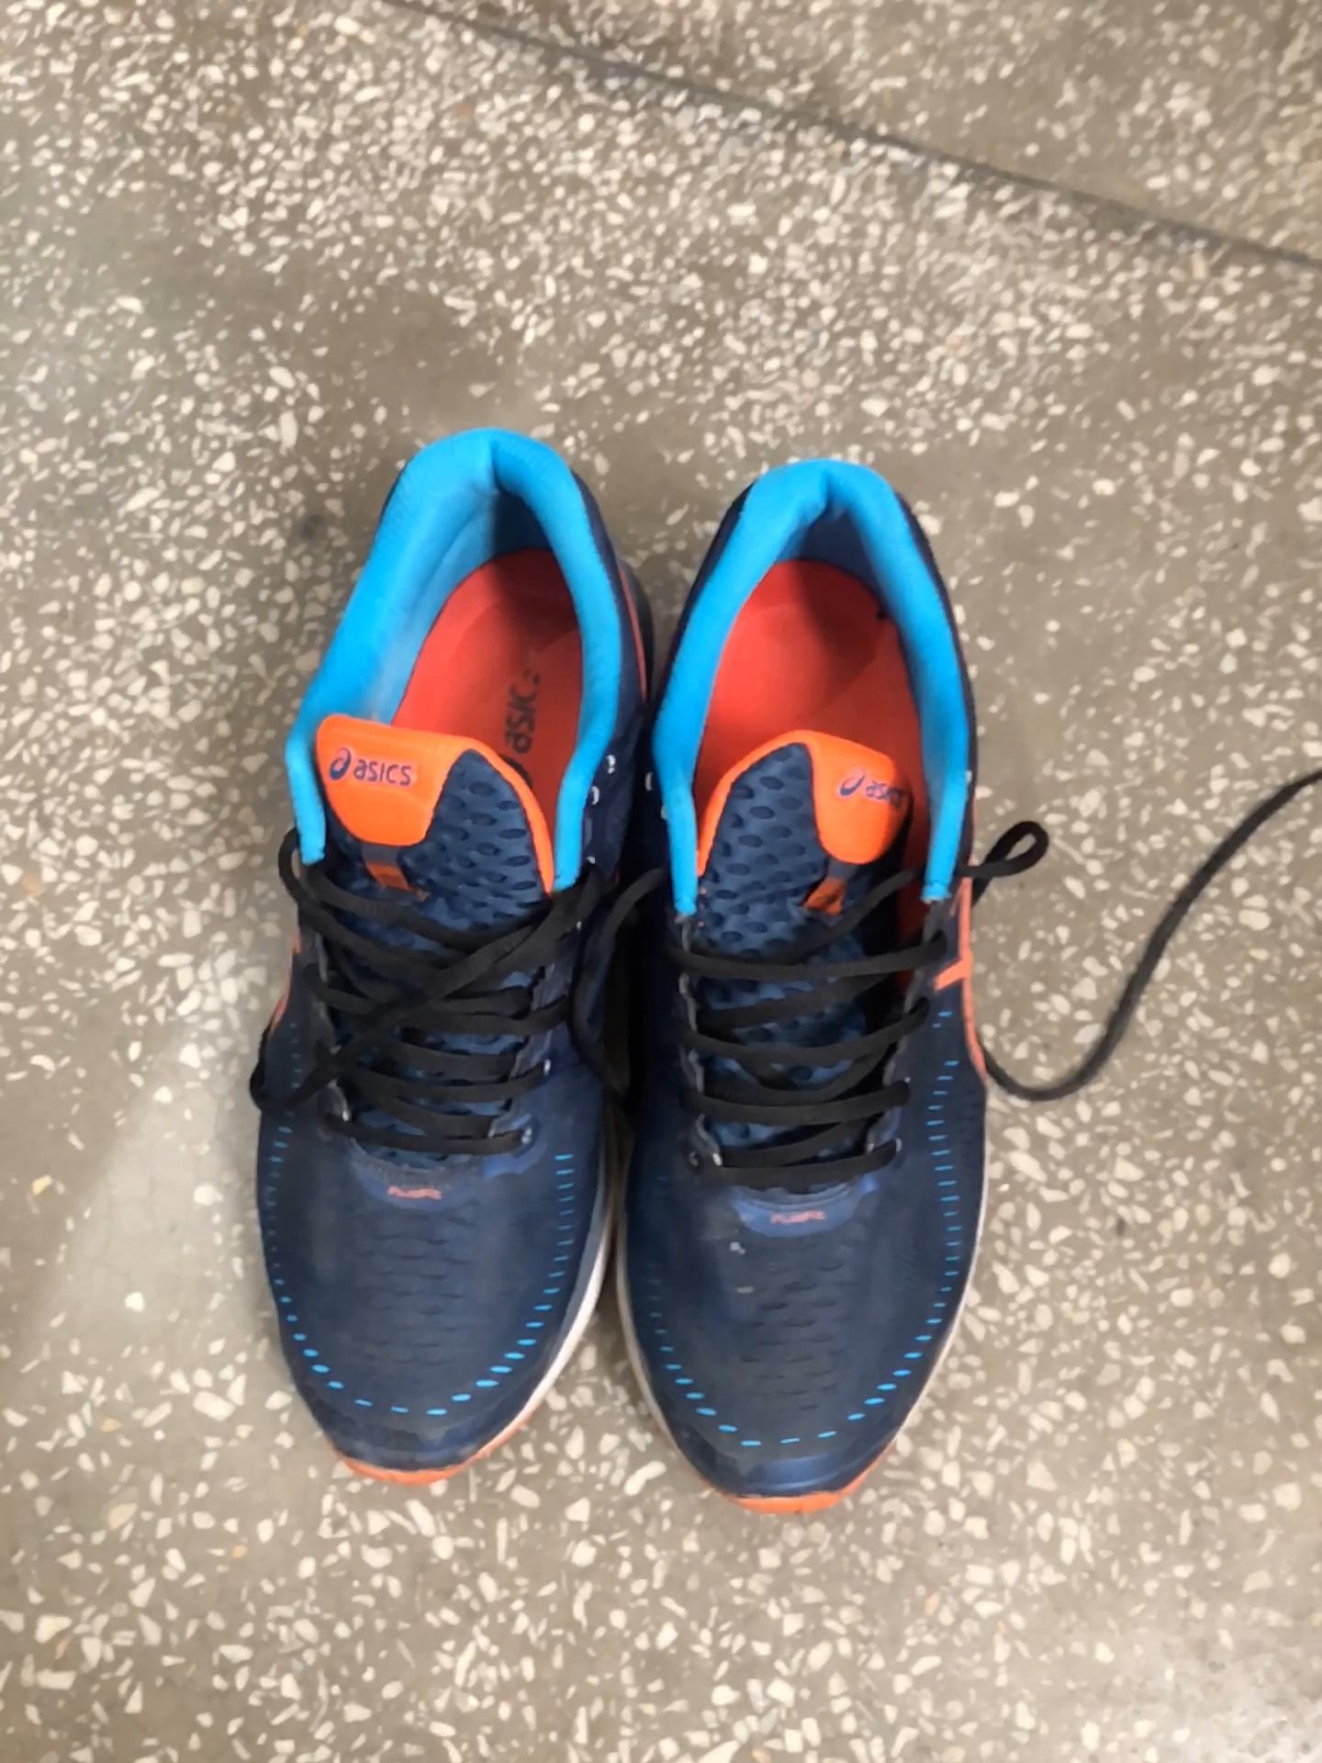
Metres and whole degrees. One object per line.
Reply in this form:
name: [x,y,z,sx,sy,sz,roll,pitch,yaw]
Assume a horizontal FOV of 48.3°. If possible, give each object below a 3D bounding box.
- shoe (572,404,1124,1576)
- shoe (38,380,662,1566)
shoe: [0.042,0.024,0.405,0.118,0.100,0.288,1,72,-1]
shoe: [-0.067,0.020,0.403,0.118,0.100,0.288,3,72,0]
